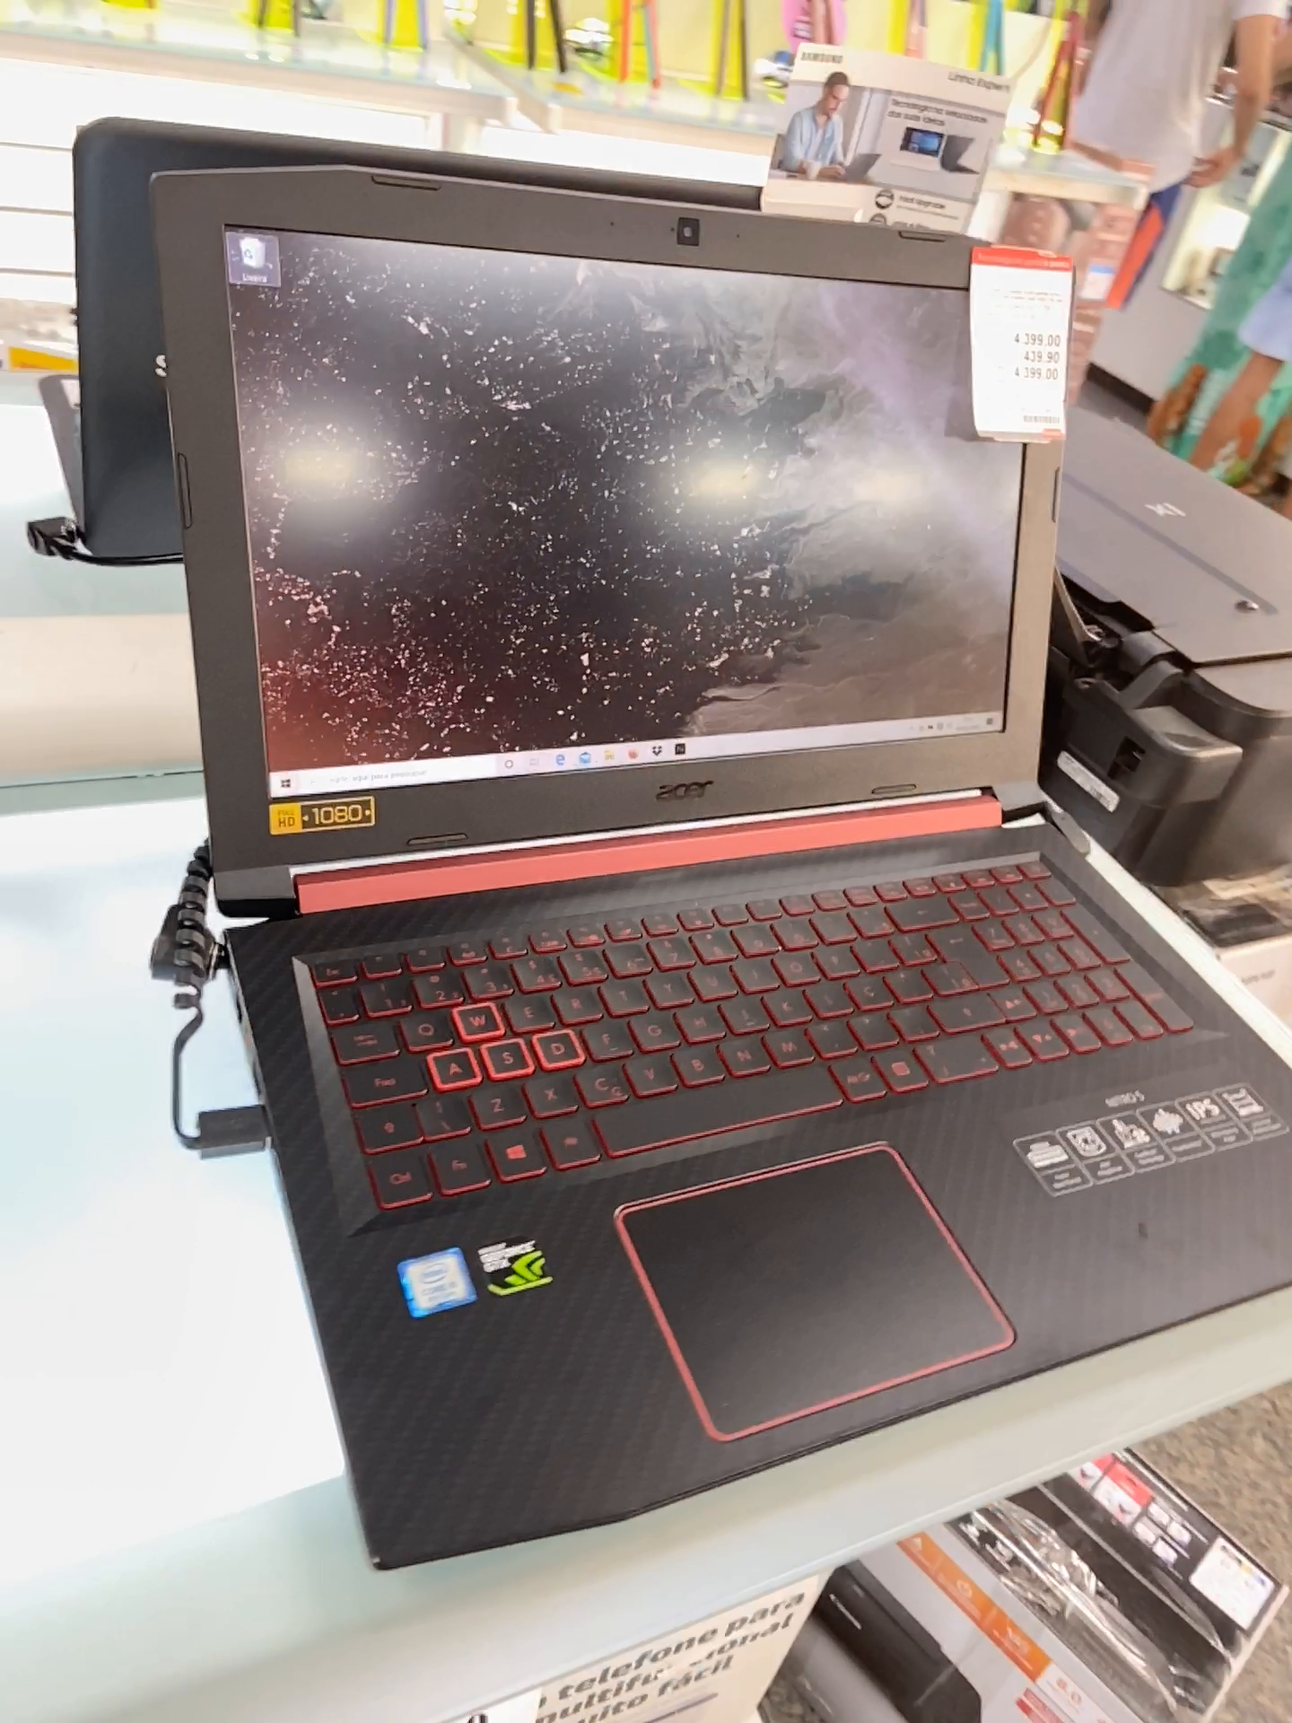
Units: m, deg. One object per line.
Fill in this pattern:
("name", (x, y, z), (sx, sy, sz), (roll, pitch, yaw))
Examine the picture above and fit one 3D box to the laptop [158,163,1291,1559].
("laptop", (0.061, -0.053, 0.462), (0.388, 0.218, 0.362), (-7, 42, -24))
